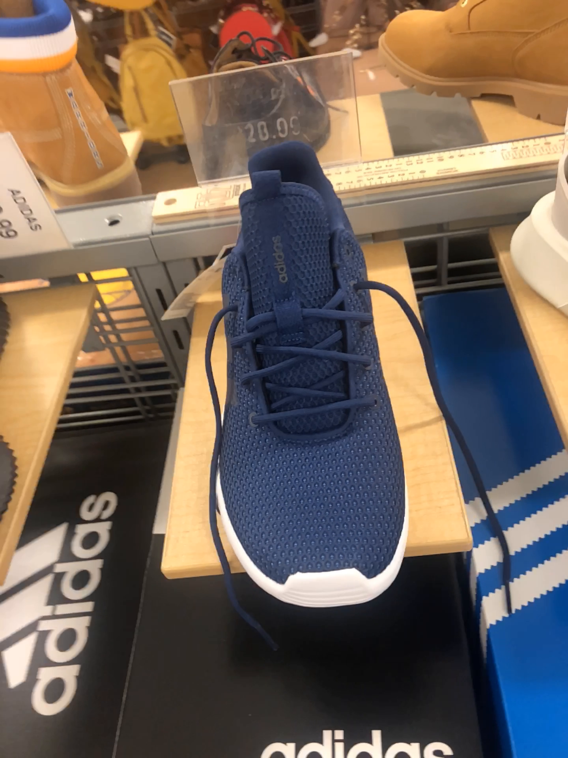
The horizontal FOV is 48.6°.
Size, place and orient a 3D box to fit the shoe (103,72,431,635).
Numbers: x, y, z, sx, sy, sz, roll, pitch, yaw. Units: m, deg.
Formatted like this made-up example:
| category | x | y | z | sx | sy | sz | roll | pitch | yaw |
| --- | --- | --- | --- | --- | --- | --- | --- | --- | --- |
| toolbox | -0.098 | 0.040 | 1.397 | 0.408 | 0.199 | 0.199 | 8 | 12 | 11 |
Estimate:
| category | x | y | z | sx | sy | sz | roll | pitch | yaw |
| --- | --- | --- | --- | --- | --- | --- | --- | --- | --- |
| shoe | 0.006 | -0.035 | 0.368 | 0.112 | 0.145 | 0.305 | -6 | 46 | 7 |
